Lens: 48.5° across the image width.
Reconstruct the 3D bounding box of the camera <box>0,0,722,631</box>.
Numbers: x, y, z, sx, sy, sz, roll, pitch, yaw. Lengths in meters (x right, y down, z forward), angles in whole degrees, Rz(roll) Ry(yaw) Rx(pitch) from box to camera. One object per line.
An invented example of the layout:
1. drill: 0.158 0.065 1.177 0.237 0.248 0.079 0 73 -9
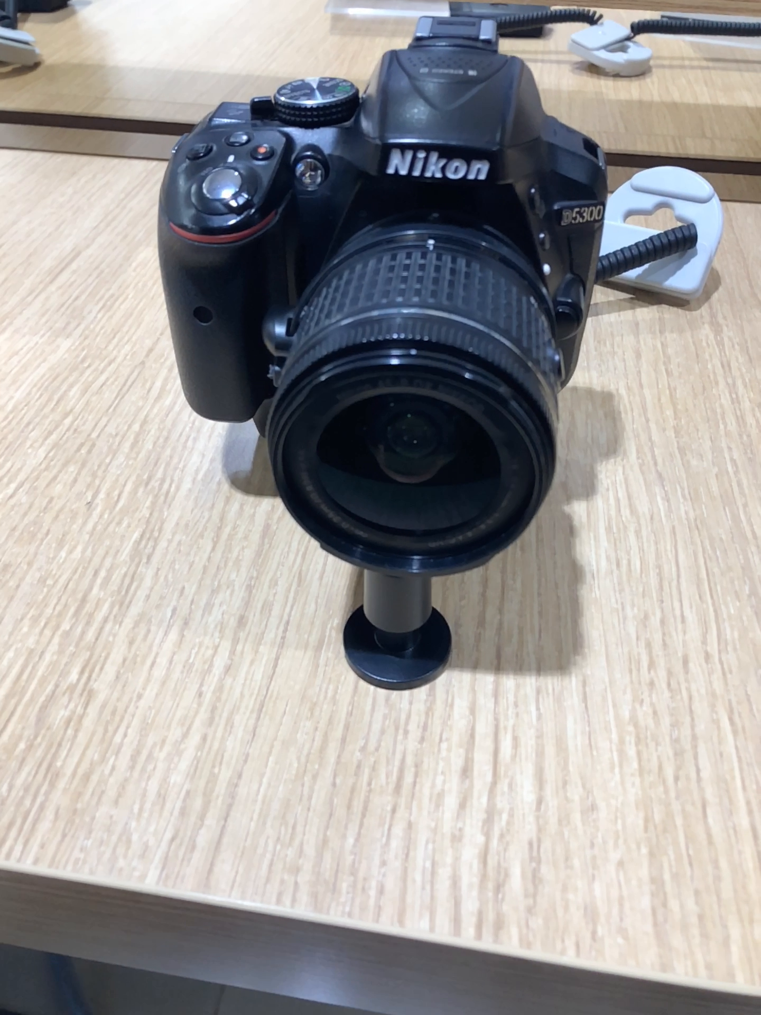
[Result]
1. camera: -0.004 -0.051 0.203 0.120 0.102 0.111 4 42 5
